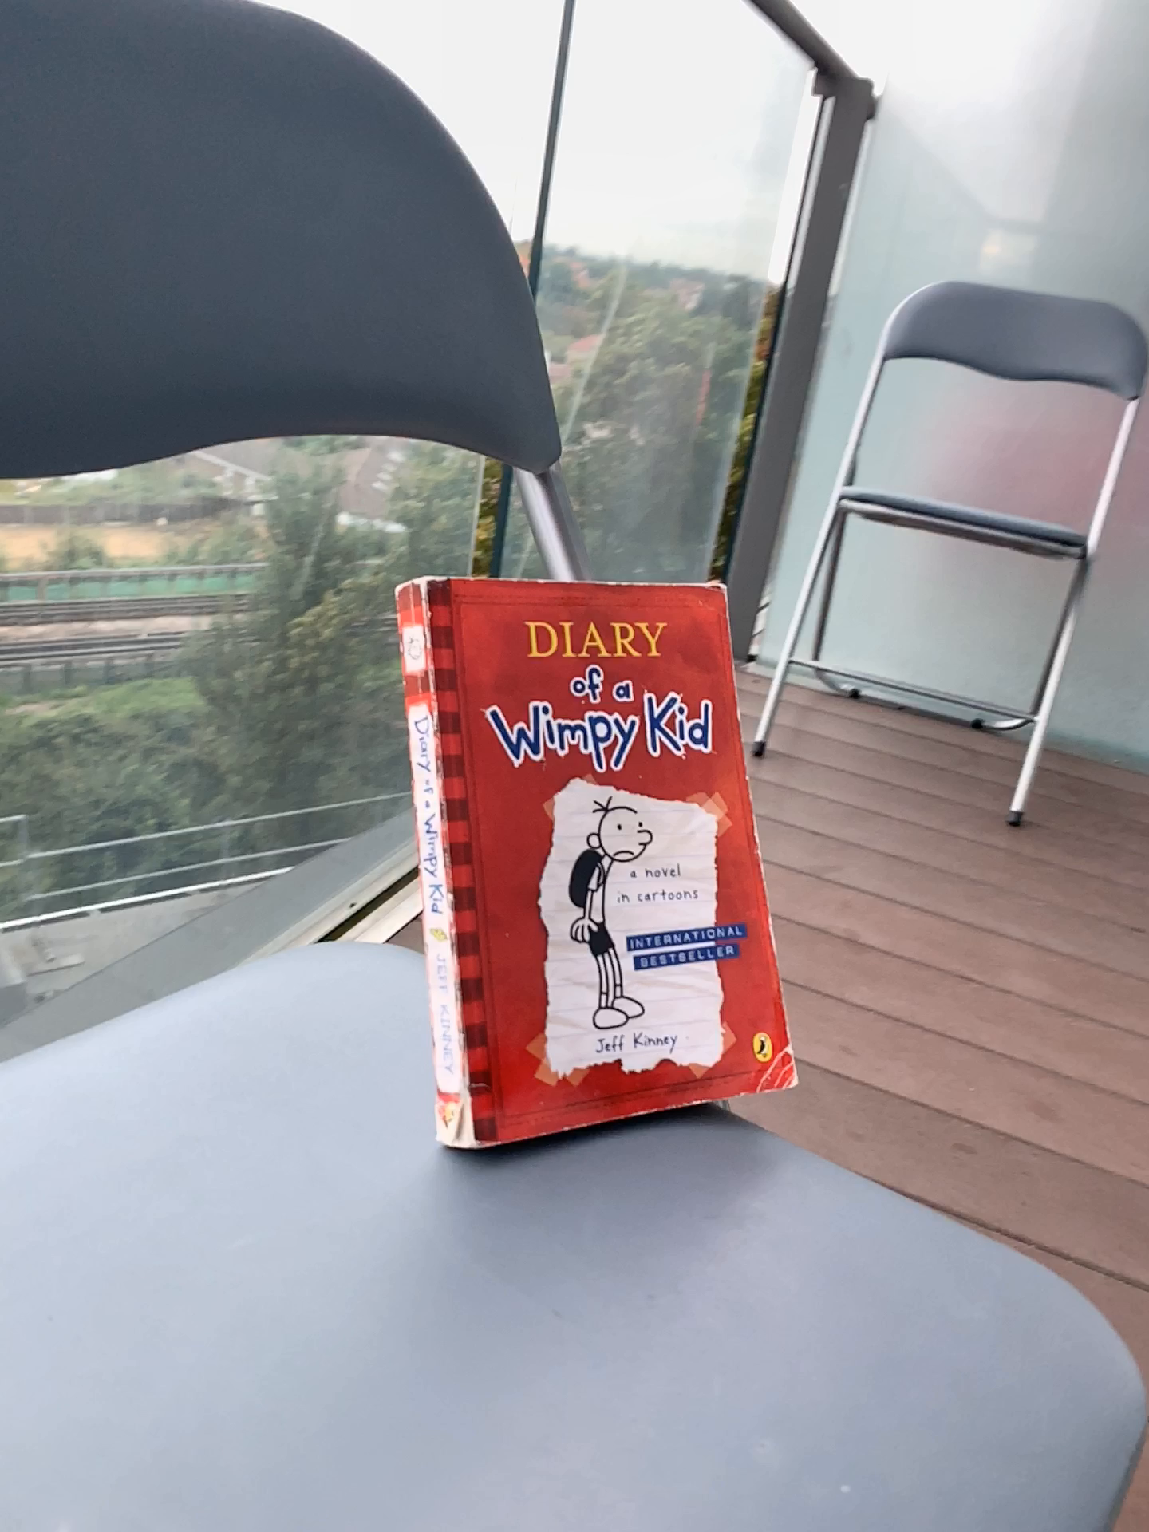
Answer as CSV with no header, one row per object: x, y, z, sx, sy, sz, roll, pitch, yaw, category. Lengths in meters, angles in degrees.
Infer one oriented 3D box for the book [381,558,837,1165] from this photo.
0.014,0.028,0.439,0.150,0.201,0.040,-2,-7,-26,book
